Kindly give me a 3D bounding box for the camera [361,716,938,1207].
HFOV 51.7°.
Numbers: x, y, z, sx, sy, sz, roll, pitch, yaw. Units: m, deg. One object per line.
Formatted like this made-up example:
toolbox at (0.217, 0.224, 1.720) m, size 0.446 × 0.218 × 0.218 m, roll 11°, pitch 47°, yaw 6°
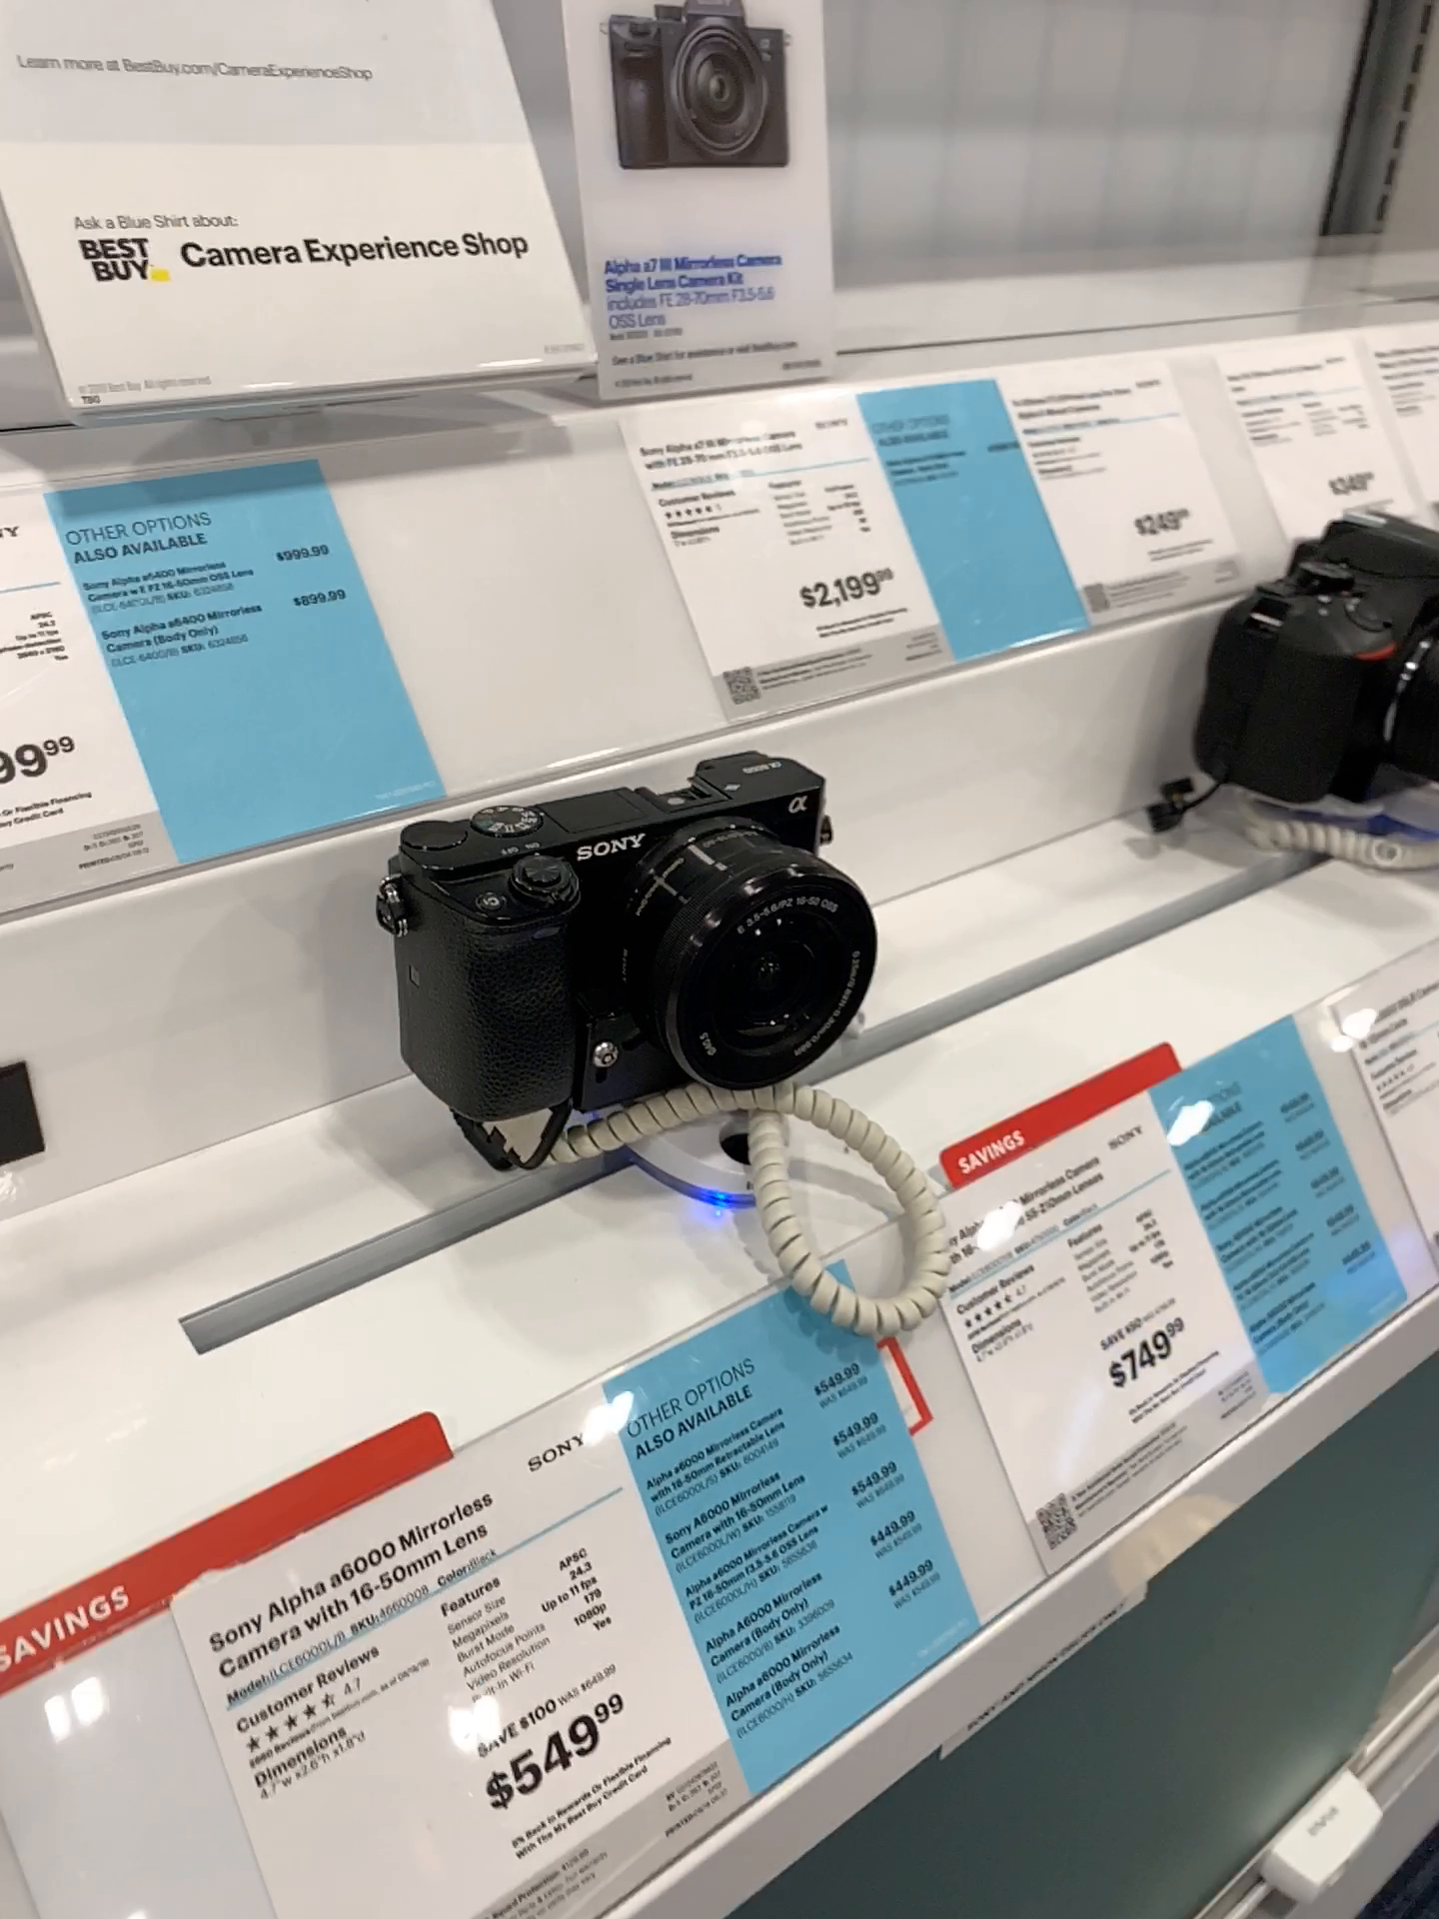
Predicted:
camera at (-0.017, -0.005, 0.388) m, size 0.130 × 0.080 × 0.060 m, roll -16°, pitch 35°, yaw -28°
